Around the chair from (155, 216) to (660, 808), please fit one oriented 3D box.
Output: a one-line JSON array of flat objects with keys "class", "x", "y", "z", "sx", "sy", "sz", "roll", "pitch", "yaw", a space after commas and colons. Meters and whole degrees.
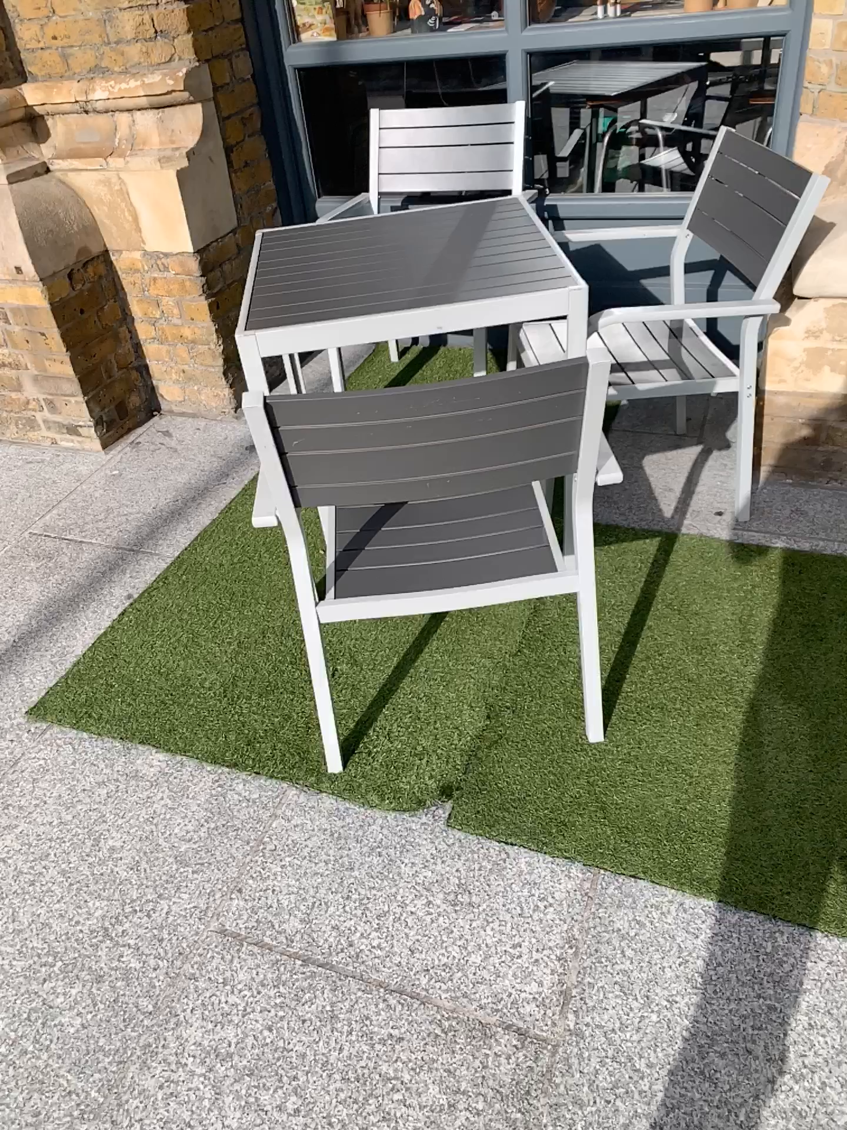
[{"class": "chair", "x": -0.019, "y": -0.115, "z": 1.639, "sx": 0.681, "sy": 0.802, "sz": 0.652, "roll": -9, "pitch": 36, "yaw": -3}]
